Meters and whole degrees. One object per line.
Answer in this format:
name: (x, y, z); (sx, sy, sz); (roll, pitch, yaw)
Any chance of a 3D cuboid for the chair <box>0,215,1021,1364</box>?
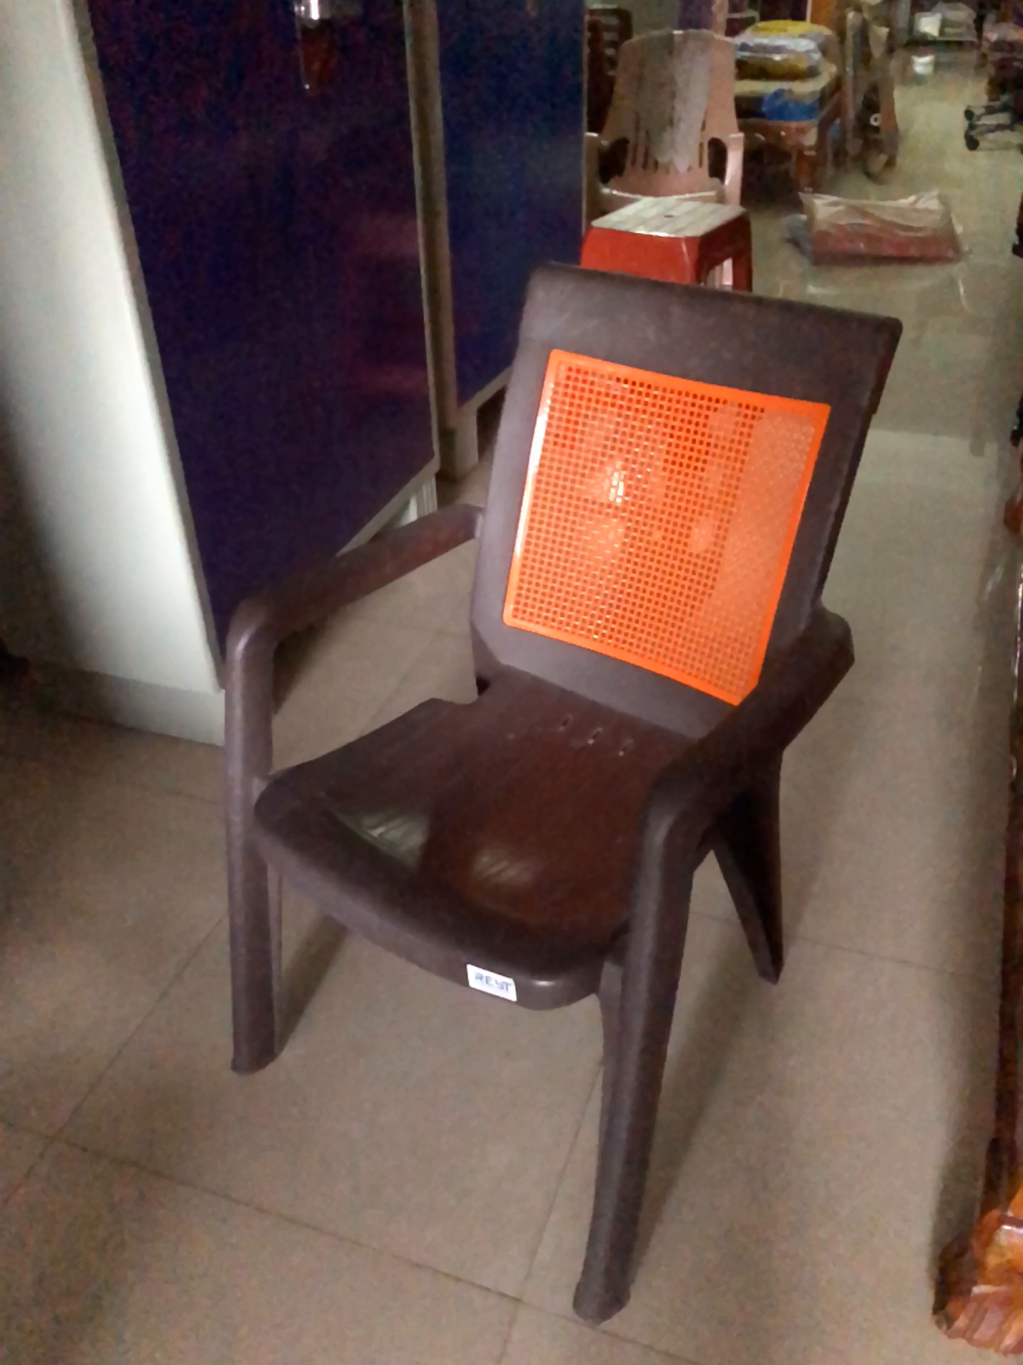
chair: (0.023, 0.062, 1.309); (0.710, 0.935, 0.714); (21, 41, 29)
